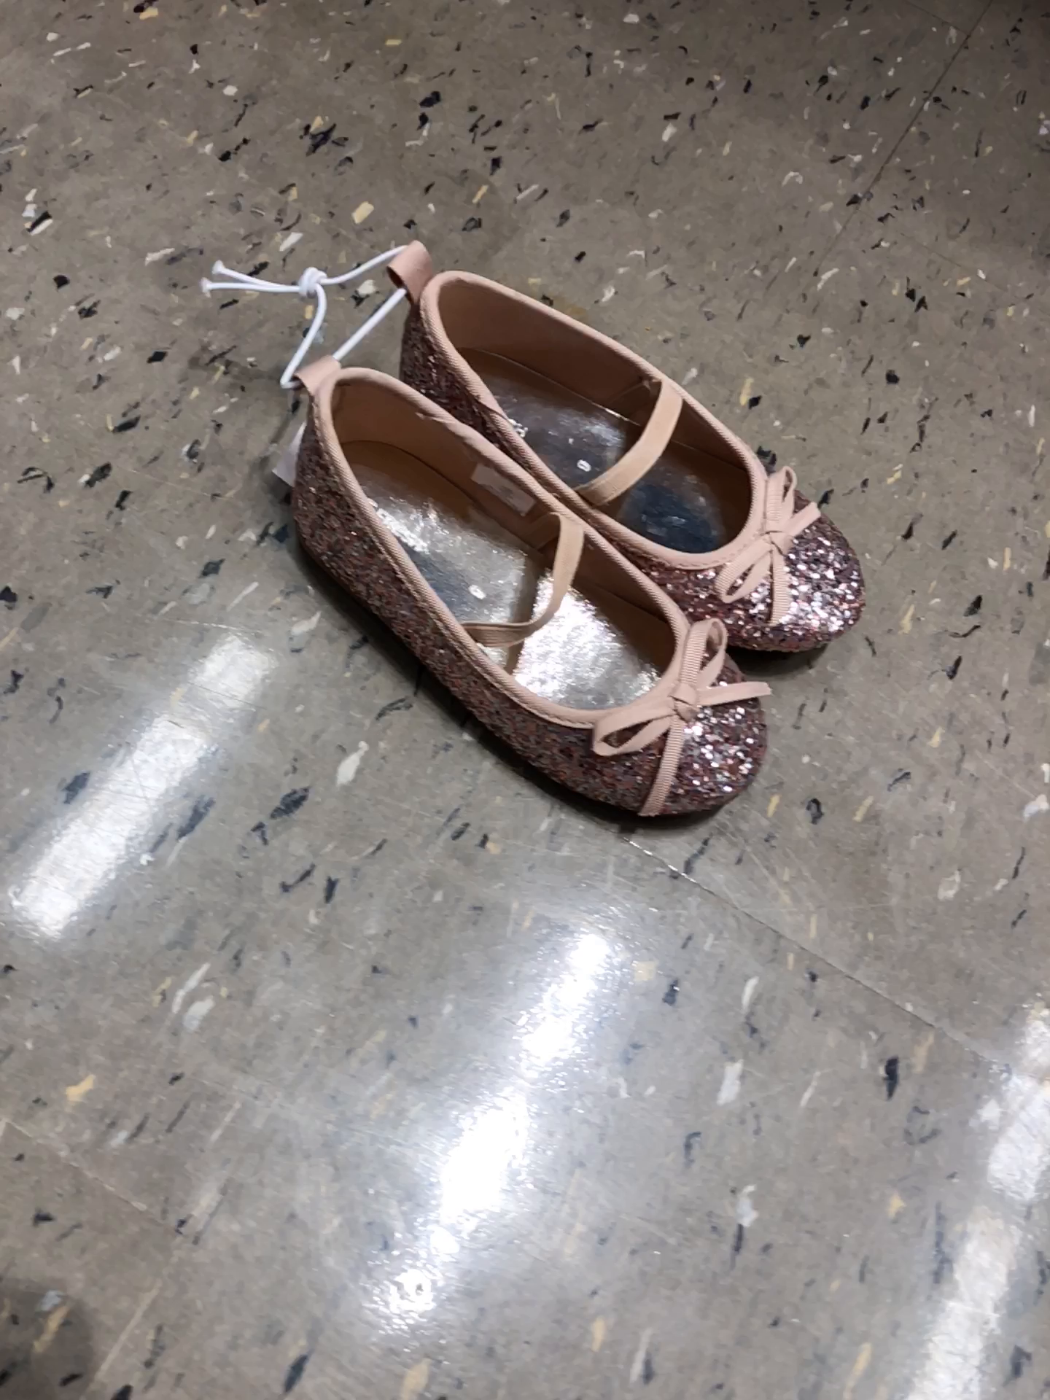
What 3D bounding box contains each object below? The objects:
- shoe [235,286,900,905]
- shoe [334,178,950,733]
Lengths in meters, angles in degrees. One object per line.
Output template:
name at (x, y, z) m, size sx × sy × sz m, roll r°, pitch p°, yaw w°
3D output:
shoe at (0.006, -0.028, 0.325) m, size 0.160 × 0.070 × 0.070 m, roll 36°, pitch 62°, yaw 7°
shoe at (0.030, -0.073, 0.355) m, size 0.160 × 0.070 × 0.070 m, roll 32°, pitch 62°, yaw 5°
